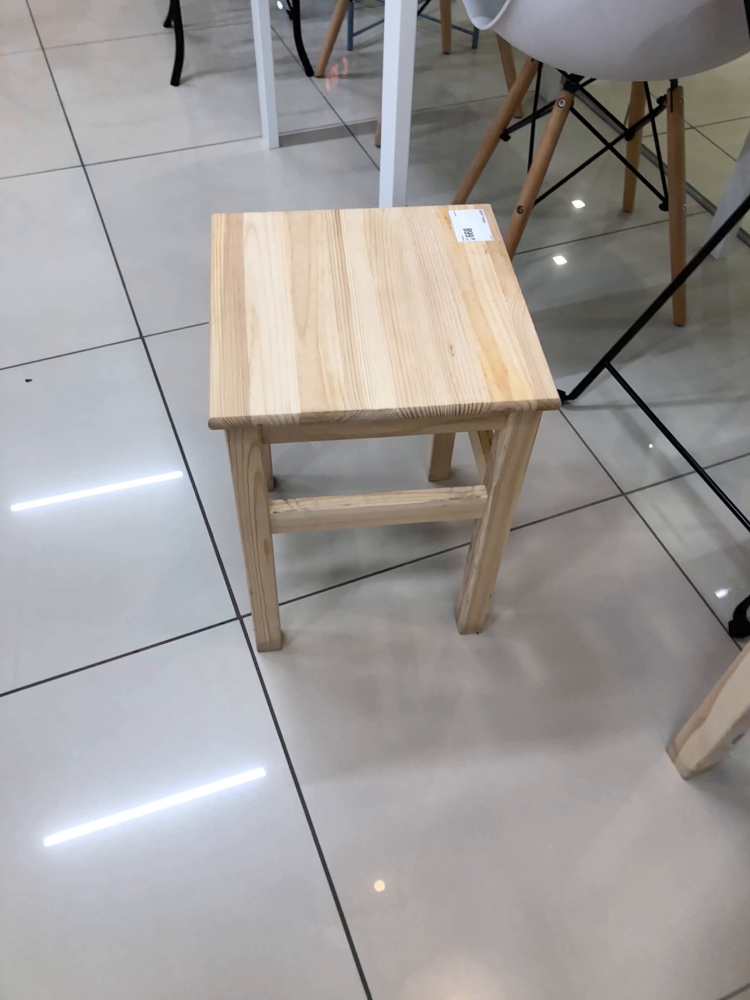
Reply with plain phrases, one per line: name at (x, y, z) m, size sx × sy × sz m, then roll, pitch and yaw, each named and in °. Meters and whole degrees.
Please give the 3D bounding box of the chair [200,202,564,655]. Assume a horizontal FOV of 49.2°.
chair at (-0.014, -0.074, 0.976) m, size 0.320 × 0.407 × 0.328 m, roll -4°, pitch 51°, yaw -5°
